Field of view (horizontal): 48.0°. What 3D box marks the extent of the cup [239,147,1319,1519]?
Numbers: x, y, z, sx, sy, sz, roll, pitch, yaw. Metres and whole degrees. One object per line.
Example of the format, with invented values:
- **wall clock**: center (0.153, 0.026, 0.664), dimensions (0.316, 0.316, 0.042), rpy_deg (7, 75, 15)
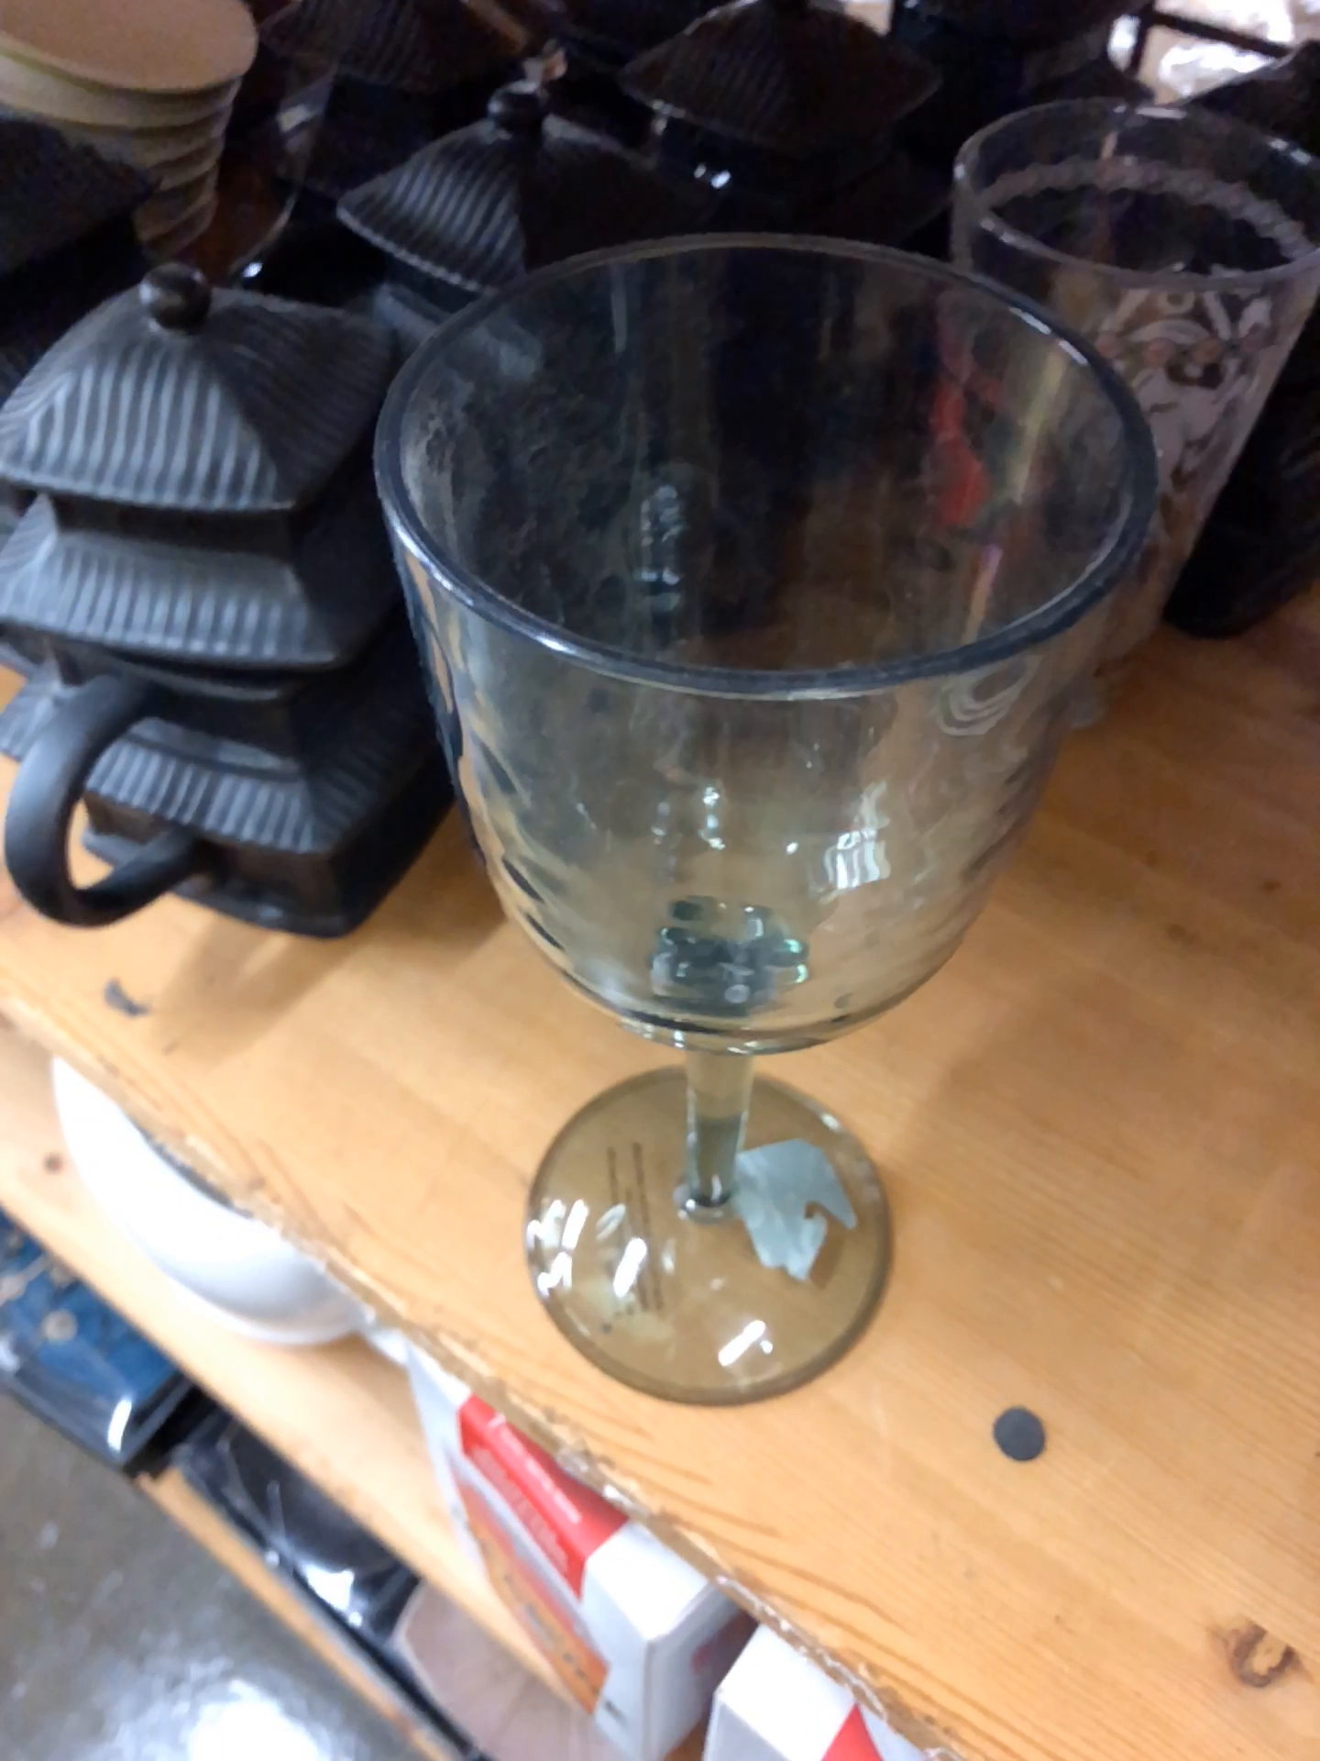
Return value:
- **cup**: center (0.014, 0.009, 0.252), dimensions (0.094, 0.204, 0.091), rpy_deg (0, 50, 0)
